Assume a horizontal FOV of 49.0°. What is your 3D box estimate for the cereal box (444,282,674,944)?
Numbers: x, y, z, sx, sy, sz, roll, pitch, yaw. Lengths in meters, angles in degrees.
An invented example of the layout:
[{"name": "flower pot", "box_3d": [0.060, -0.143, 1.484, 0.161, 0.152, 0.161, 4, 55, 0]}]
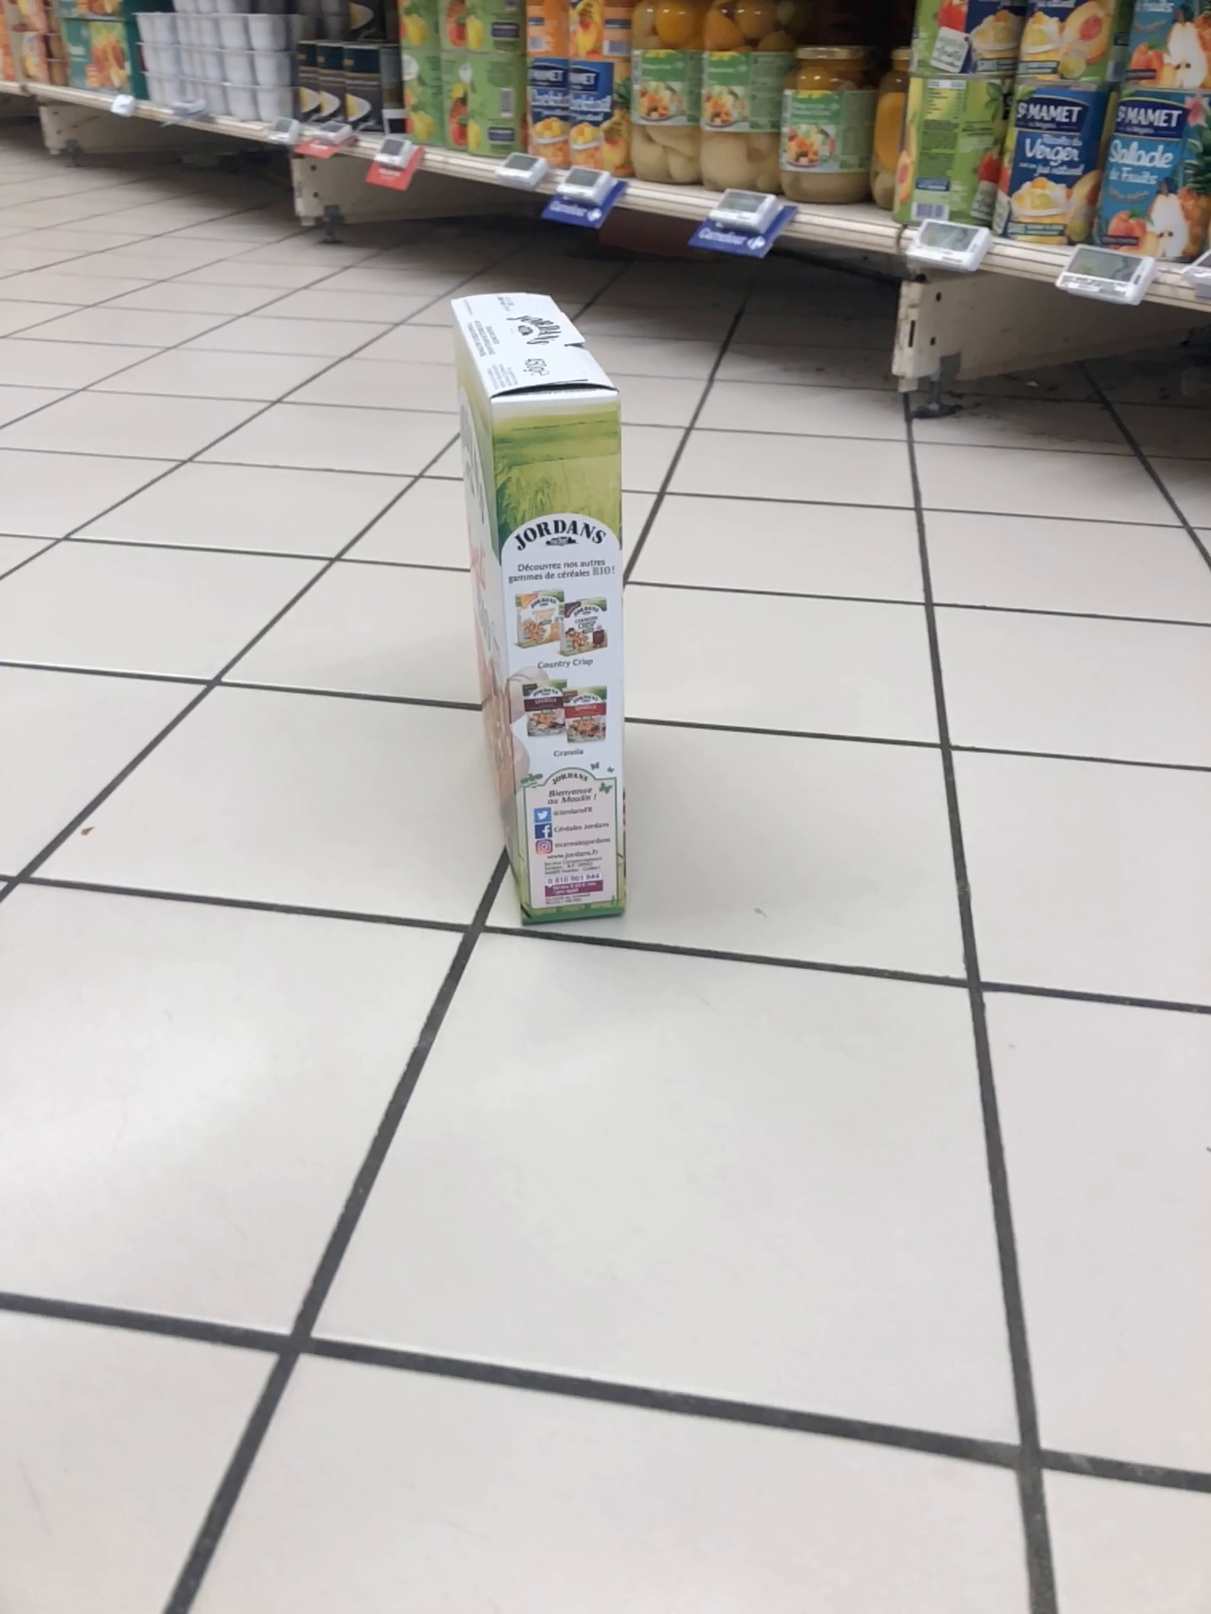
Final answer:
[{"name": "cereal box", "box_3d": [-0.022, -0.090, 0.565, 0.060, 0.219, 0.191, -7, 31, -7]}]
